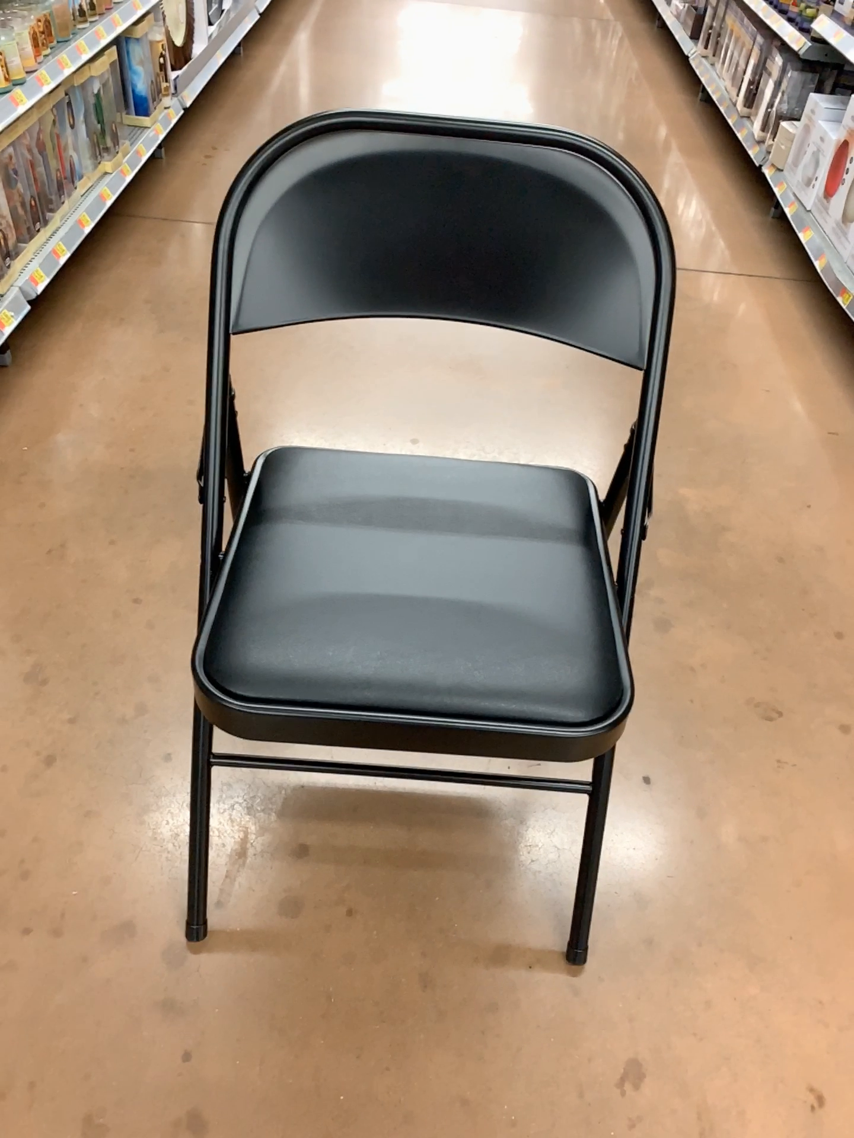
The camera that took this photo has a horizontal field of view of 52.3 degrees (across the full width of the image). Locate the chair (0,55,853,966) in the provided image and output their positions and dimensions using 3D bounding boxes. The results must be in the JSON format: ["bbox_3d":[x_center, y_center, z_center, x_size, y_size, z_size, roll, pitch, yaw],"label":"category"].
[{"bbox_3d":[-0.010,-0.016,0.834,0.470,0.696,0.472,4,43,-2],"label":"chair"}]
